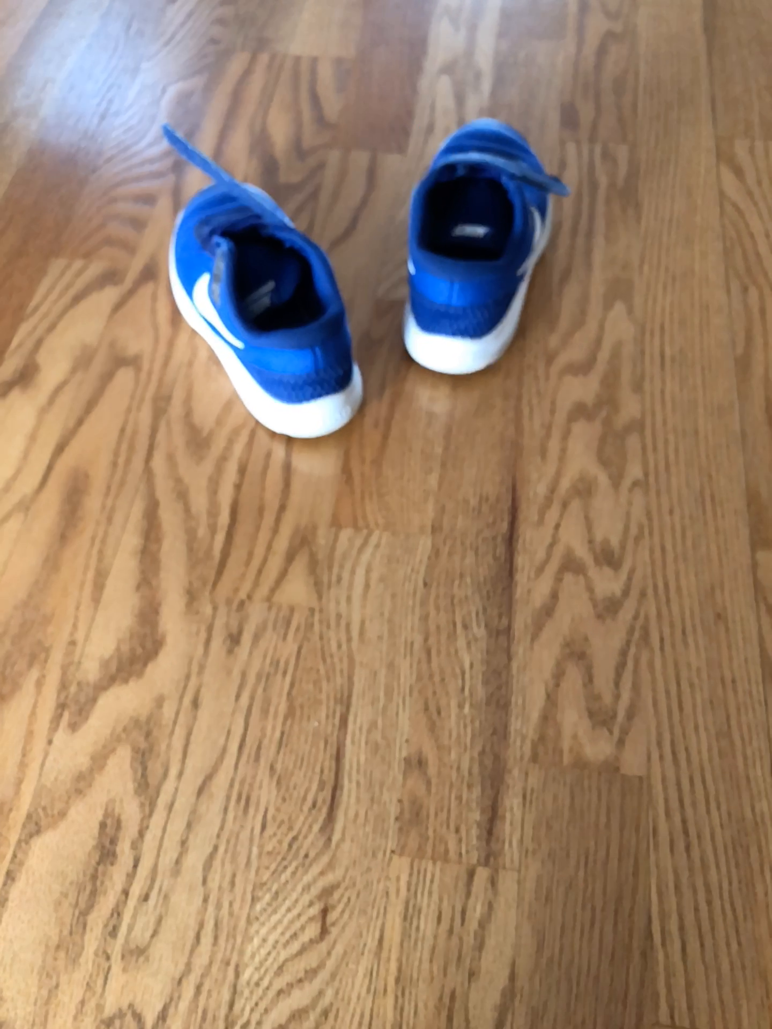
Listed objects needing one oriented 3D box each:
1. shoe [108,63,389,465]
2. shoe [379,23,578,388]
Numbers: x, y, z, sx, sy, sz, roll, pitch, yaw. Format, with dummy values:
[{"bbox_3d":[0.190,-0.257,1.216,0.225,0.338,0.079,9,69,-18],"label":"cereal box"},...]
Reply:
[{"bbox_3d":[-0.081,-0.151,0.502,0.093,0.092,0.215,-19,60,-10],"label":"shoe"},{"bbox_3d":[0.060,-0.195,0.532,0.093,0.092,0.215,7,59,6],"label":"shoe"}]
